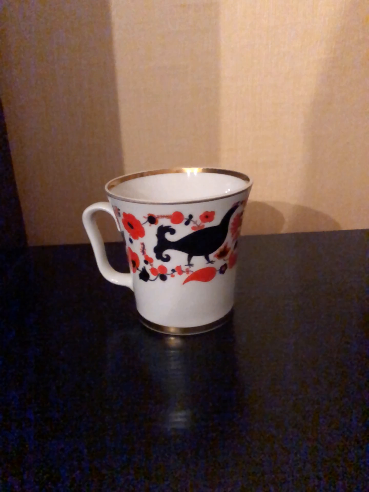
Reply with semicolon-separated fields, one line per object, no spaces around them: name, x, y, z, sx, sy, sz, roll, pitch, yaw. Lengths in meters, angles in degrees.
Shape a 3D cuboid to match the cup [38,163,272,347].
cup;-0.013;0.000;0.282;0.125;0.092;0.103;-1;22;2
